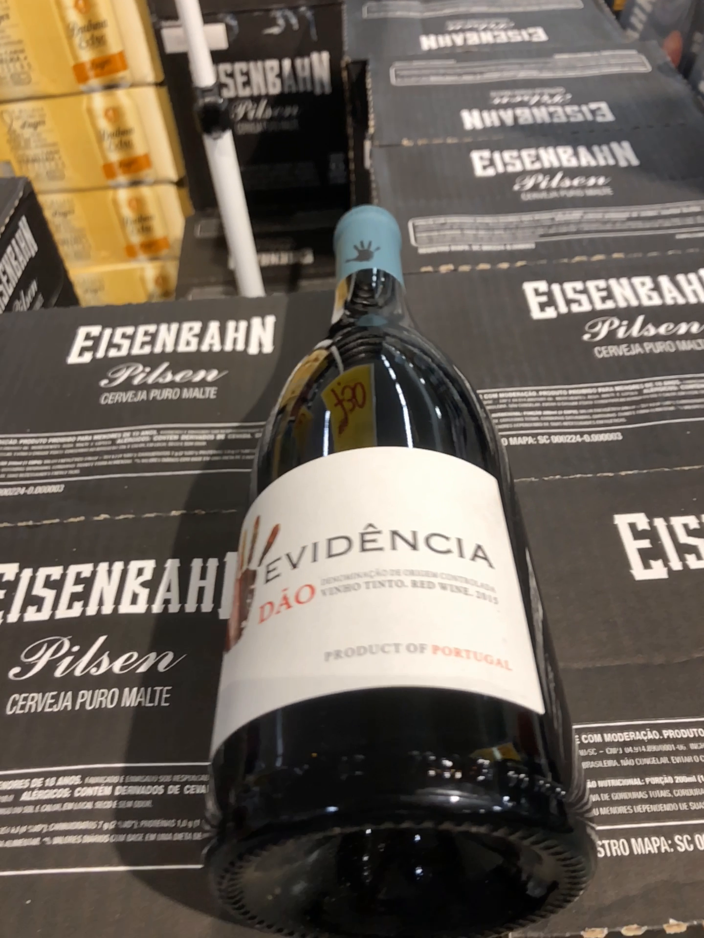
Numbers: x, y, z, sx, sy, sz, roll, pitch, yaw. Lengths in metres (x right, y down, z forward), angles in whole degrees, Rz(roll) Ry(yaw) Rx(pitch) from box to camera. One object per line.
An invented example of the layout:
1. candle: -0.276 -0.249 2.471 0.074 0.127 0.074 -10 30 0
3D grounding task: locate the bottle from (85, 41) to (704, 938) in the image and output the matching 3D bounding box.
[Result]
1. bottle: 0.007 -0.036 0.271 0.100 0.089 0.332 -4 47 2
